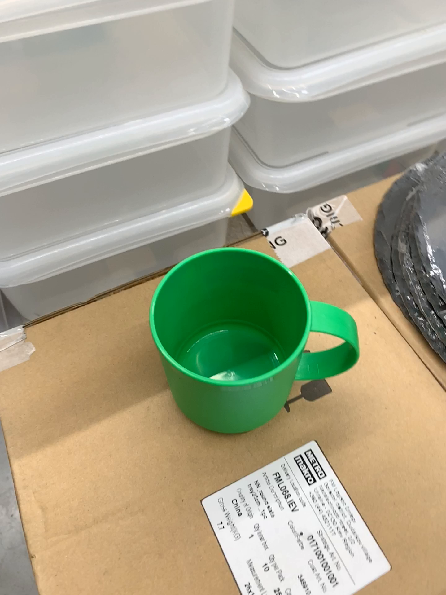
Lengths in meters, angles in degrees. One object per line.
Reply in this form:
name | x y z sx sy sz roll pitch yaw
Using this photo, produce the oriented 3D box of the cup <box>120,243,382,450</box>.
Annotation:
cup | 0.014 0.026 0.236 0.105 0.069 0.076 3 56 4
